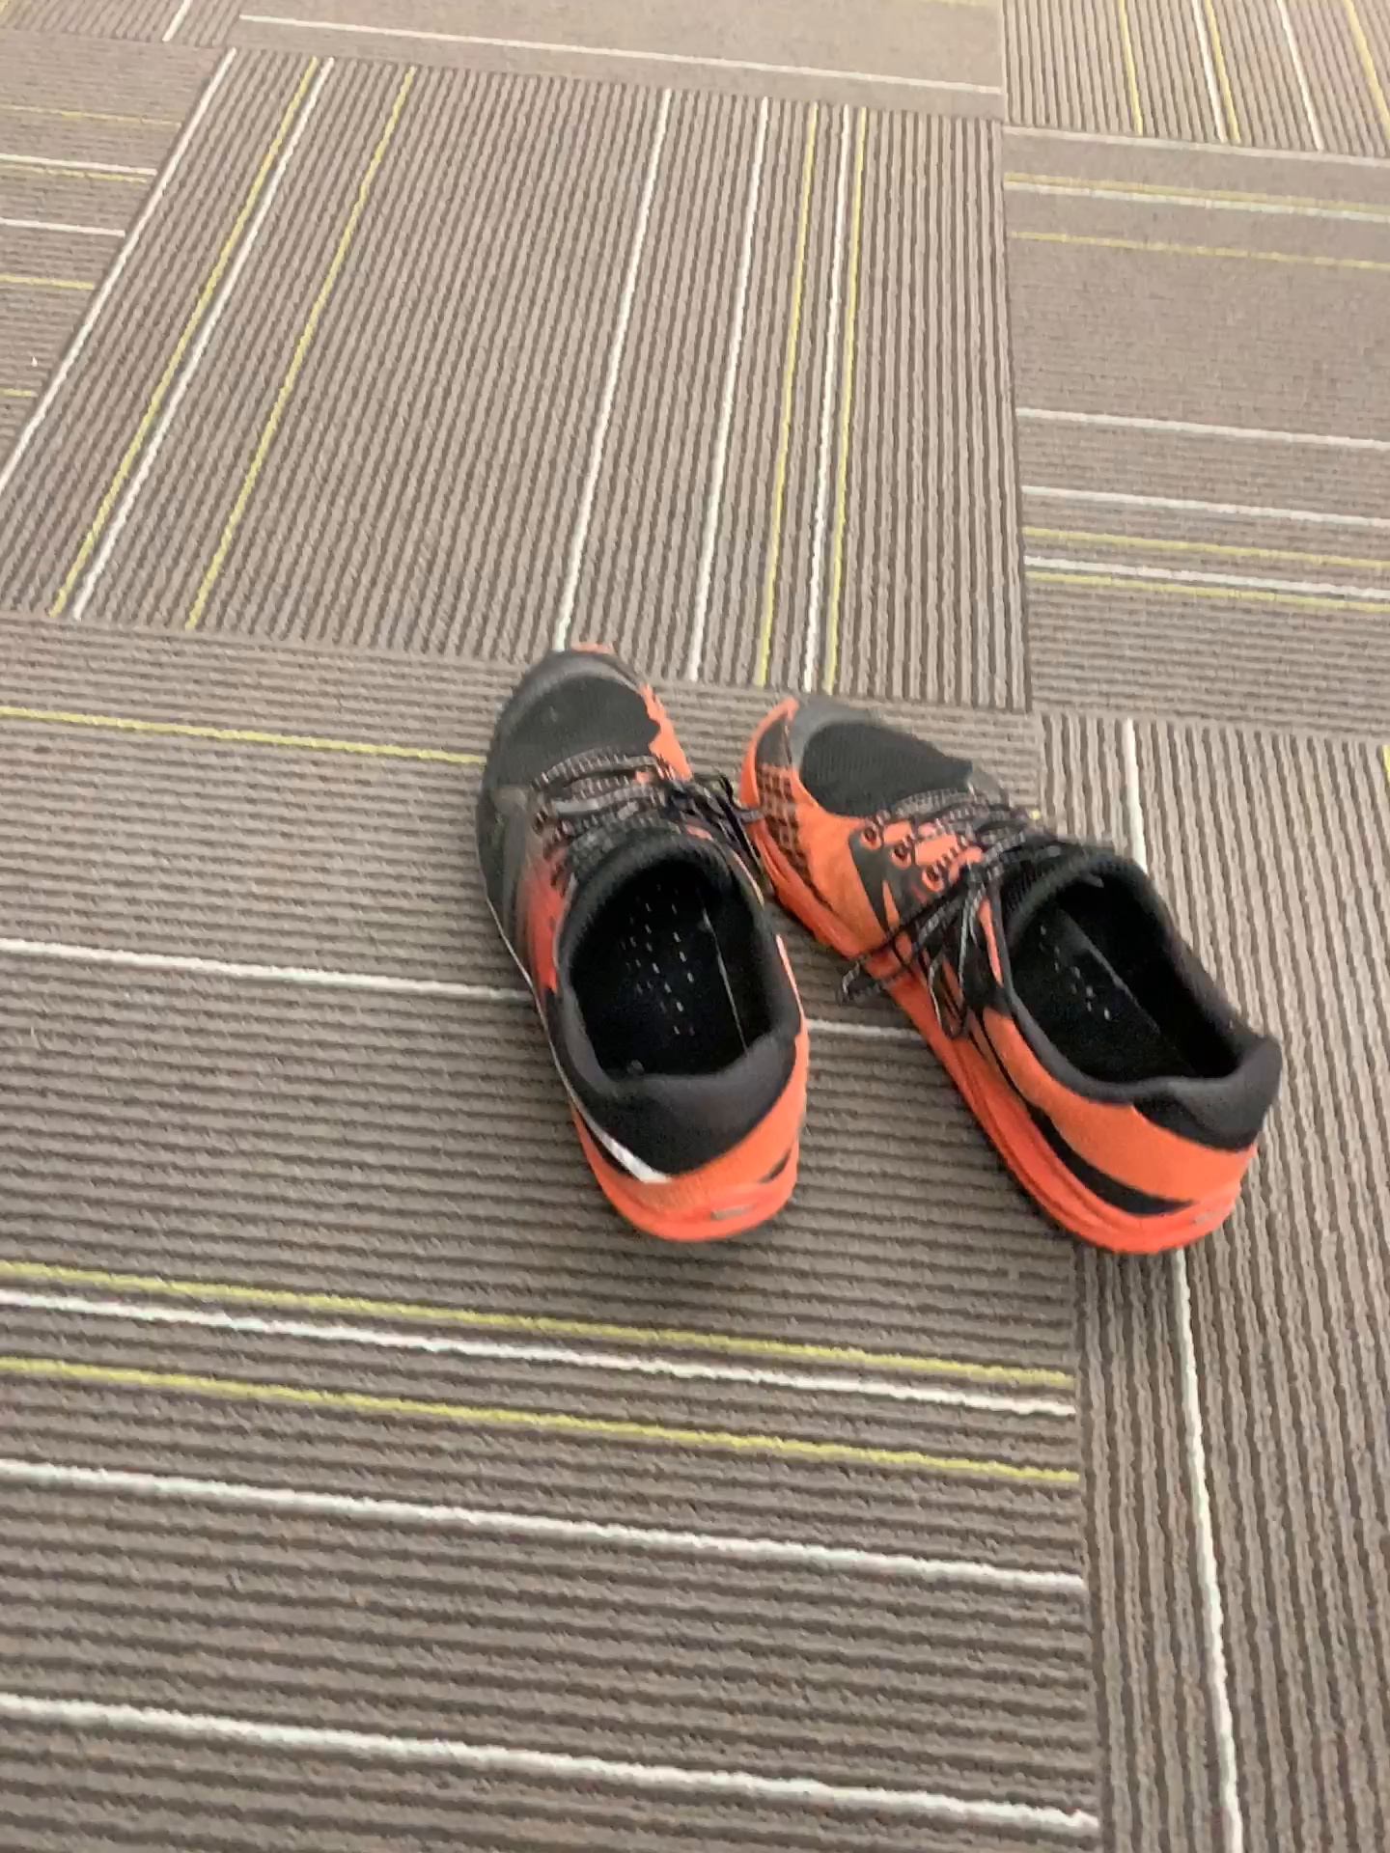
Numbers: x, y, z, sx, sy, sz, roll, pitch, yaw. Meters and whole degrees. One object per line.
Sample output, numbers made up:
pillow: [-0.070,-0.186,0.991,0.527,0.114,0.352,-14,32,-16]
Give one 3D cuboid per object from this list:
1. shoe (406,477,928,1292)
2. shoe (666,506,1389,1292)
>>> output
shoe: [-0.027,-0.030,0.619,0.130,0.130,0.321,-12,58,-10]
shoe: [0.129,-0.022,0.627,0.130,0.130,0.311,-29,63,-20]
